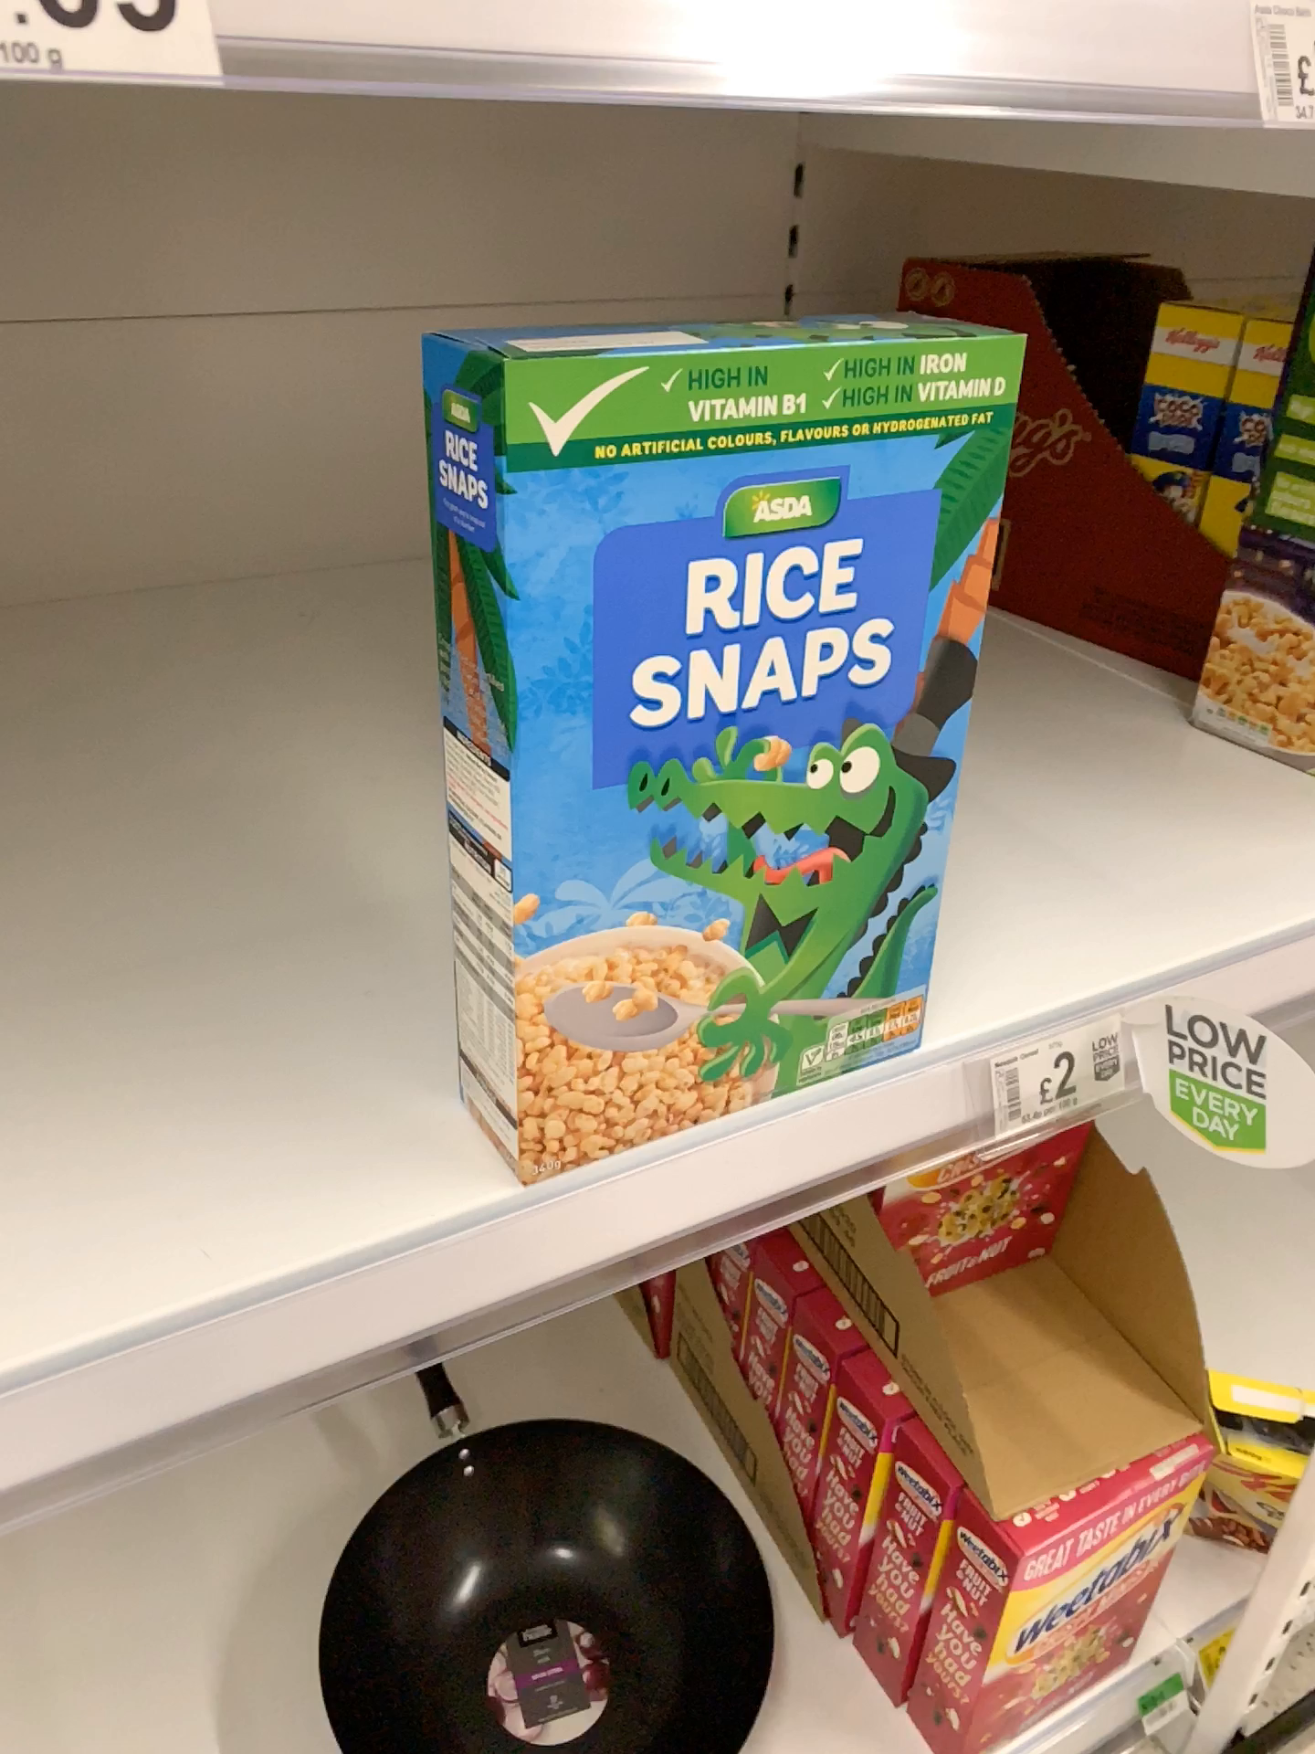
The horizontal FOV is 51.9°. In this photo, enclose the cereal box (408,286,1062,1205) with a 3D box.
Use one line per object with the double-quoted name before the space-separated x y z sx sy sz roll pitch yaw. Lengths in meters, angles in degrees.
"cereal box" 0.021 -0.046 0.478 0.191 0.287 0.070 -15 34 -28
